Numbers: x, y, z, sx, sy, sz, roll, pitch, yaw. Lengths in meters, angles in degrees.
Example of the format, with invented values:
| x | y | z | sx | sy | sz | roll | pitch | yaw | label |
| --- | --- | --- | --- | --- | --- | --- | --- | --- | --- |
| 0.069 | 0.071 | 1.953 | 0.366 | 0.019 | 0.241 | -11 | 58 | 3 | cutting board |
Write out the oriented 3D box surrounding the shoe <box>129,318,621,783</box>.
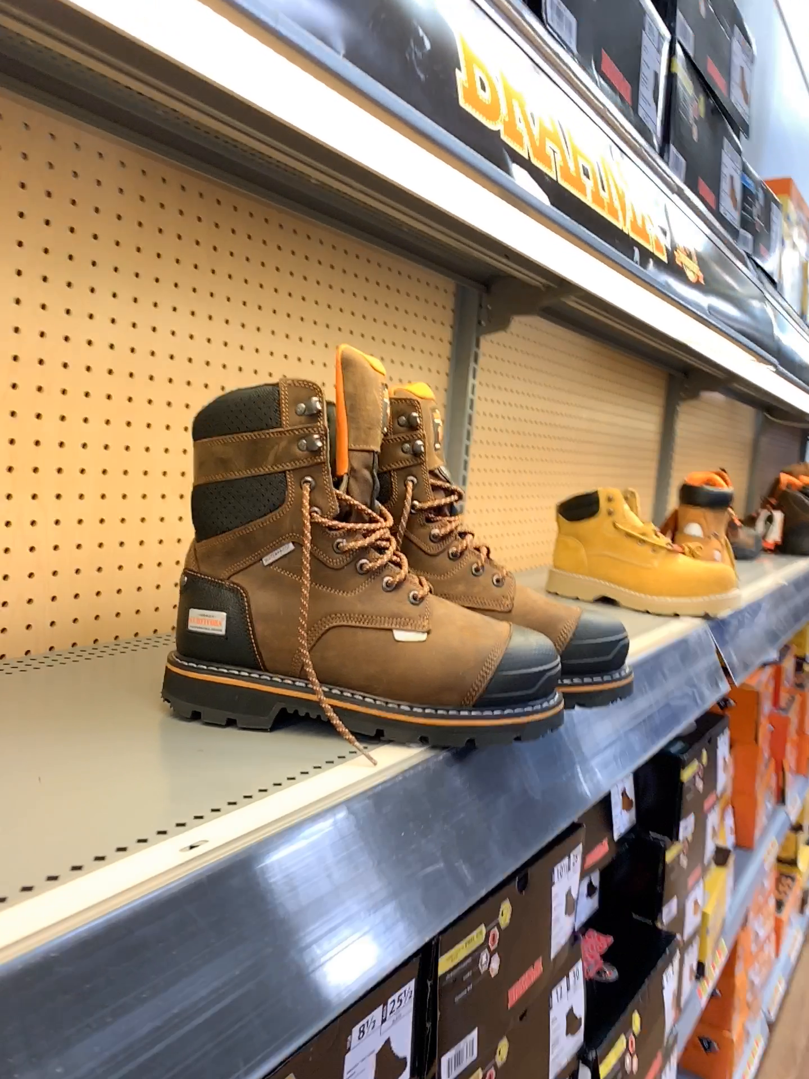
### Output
| x | y | z | sx | sy | sz | roll | pitch | yaw | label |
| --- | --- | --- | --- | --- | --- | --- | --- | --- | --- |
| -0.020 | -0.002 | 0.625 | 0.313 | 0.280 | 0.136 | 6 | 6 | 9 | shoe |

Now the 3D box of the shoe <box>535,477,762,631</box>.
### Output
| x | y | z | sx | sy | sz | roll | pitch | yaw | label |
| --- | --- | --- | --- | --- | --- | --- | --- | --- | --- |
| 0.360 | 0.011 | 1.235 | 0.273 | 0.179 | 0.146 | 10 | 7 | 34 | shoe |

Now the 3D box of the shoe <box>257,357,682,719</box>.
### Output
| x | y | z | sx | sy | sz | roll | pitch | yaw | label |
| --- | --- | --- | --- | --- | --- | --- | --- | --- | --- |
| 0.053 | -0.010 | 0.737 | 0.318 | 0.260 | 0.134 | 6 | 6 | 8 | shoe |
